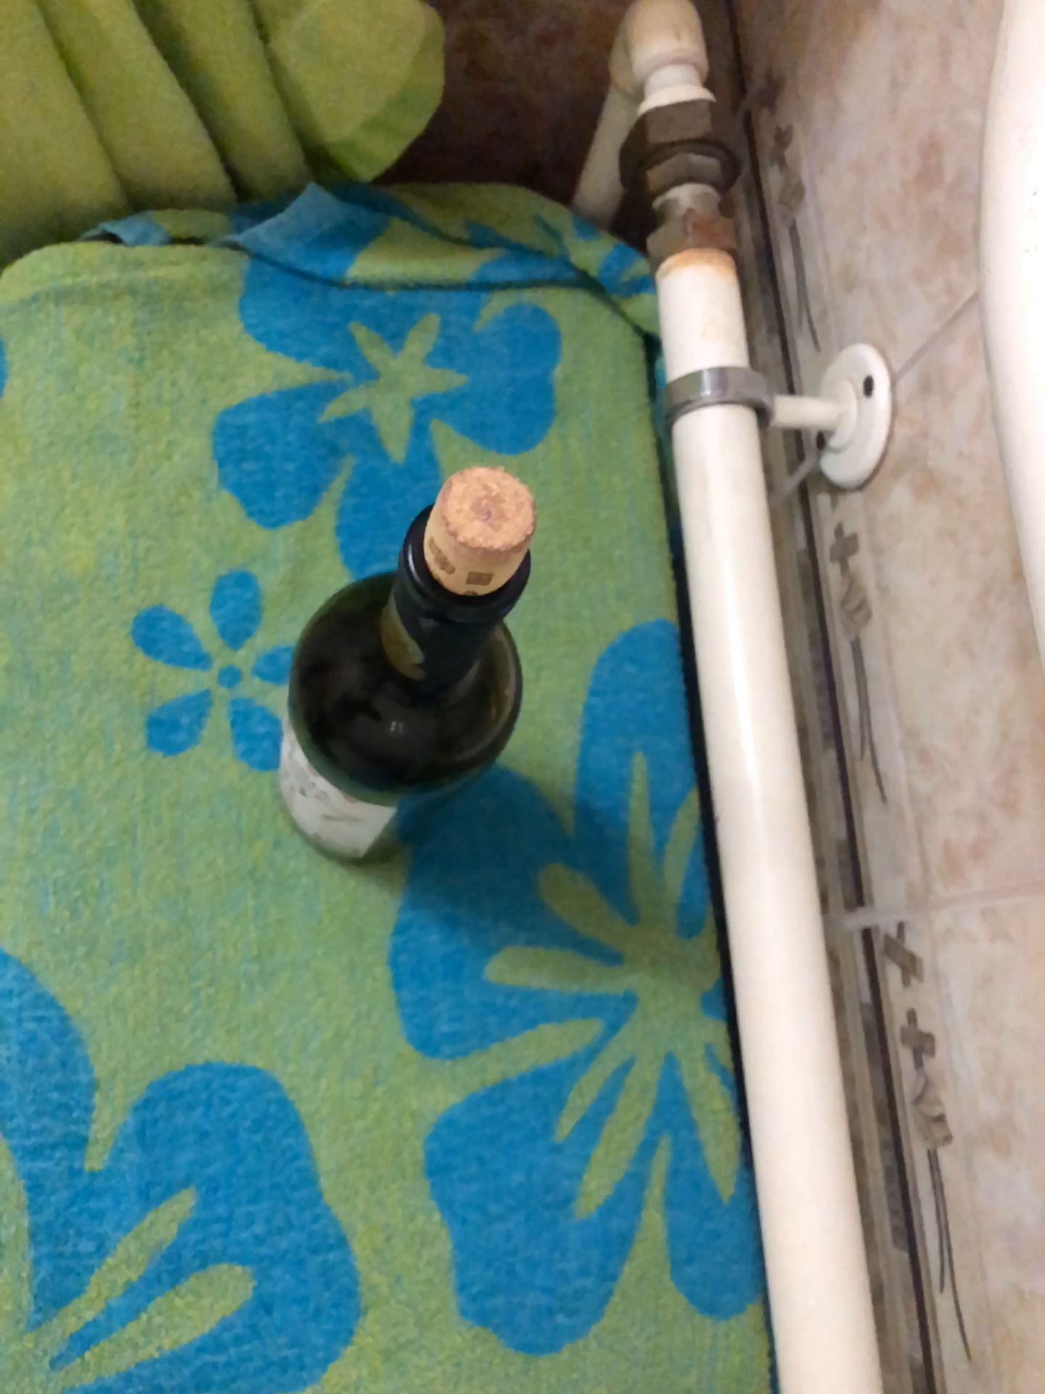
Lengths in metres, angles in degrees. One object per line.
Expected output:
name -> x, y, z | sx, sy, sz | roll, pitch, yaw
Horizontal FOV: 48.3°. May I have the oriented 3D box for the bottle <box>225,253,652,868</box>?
bottle -> -0.044, -0.006, 0.379 | 0.080, 0.320, 0.080 | 3, 74, -11
